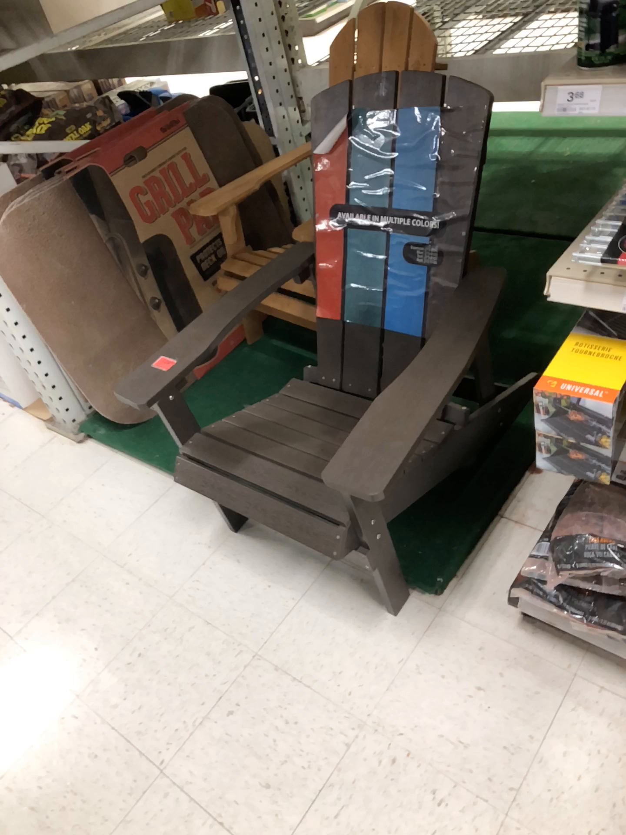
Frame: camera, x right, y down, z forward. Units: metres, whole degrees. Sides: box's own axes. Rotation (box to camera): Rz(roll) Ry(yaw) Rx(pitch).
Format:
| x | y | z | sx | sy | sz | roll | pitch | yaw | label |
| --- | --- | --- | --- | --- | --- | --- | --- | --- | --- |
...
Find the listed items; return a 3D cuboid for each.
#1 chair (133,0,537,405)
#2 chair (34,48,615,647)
| x | y | z | sx | sy | sz | roll | pitch | yaw | label |
| --- | --- | --- | --- | --- | --- | --- | --- | --- | --- |
| 0.152 | -0.742 | 2.181 | 0.639 | 0.845 | 0.976 | 25 | 55 | 40 | chair |
| 0.122 | -0.223 | 1.561 | 0.720 | 0.815 | 0.917 | 19 | 51 | 36 | chair |
